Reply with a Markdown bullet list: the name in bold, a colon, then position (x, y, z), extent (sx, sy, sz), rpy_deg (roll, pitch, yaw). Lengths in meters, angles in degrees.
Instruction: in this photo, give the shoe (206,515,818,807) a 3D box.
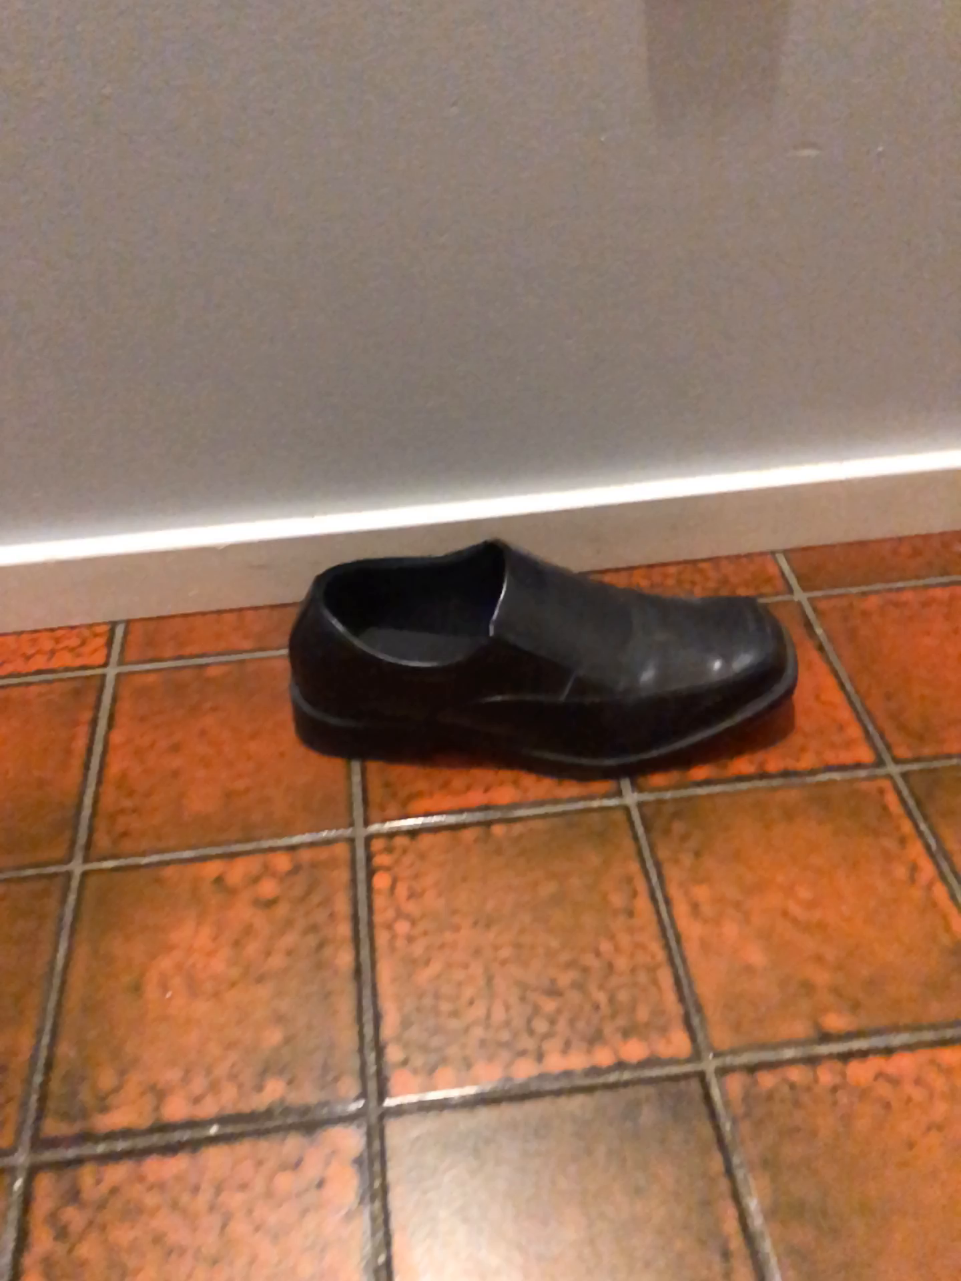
- **shoe**: position (0.018, 0.009, 0.598), extent (0.300, 0.100, 0.120), rpy_deg (2, 44, 4)
